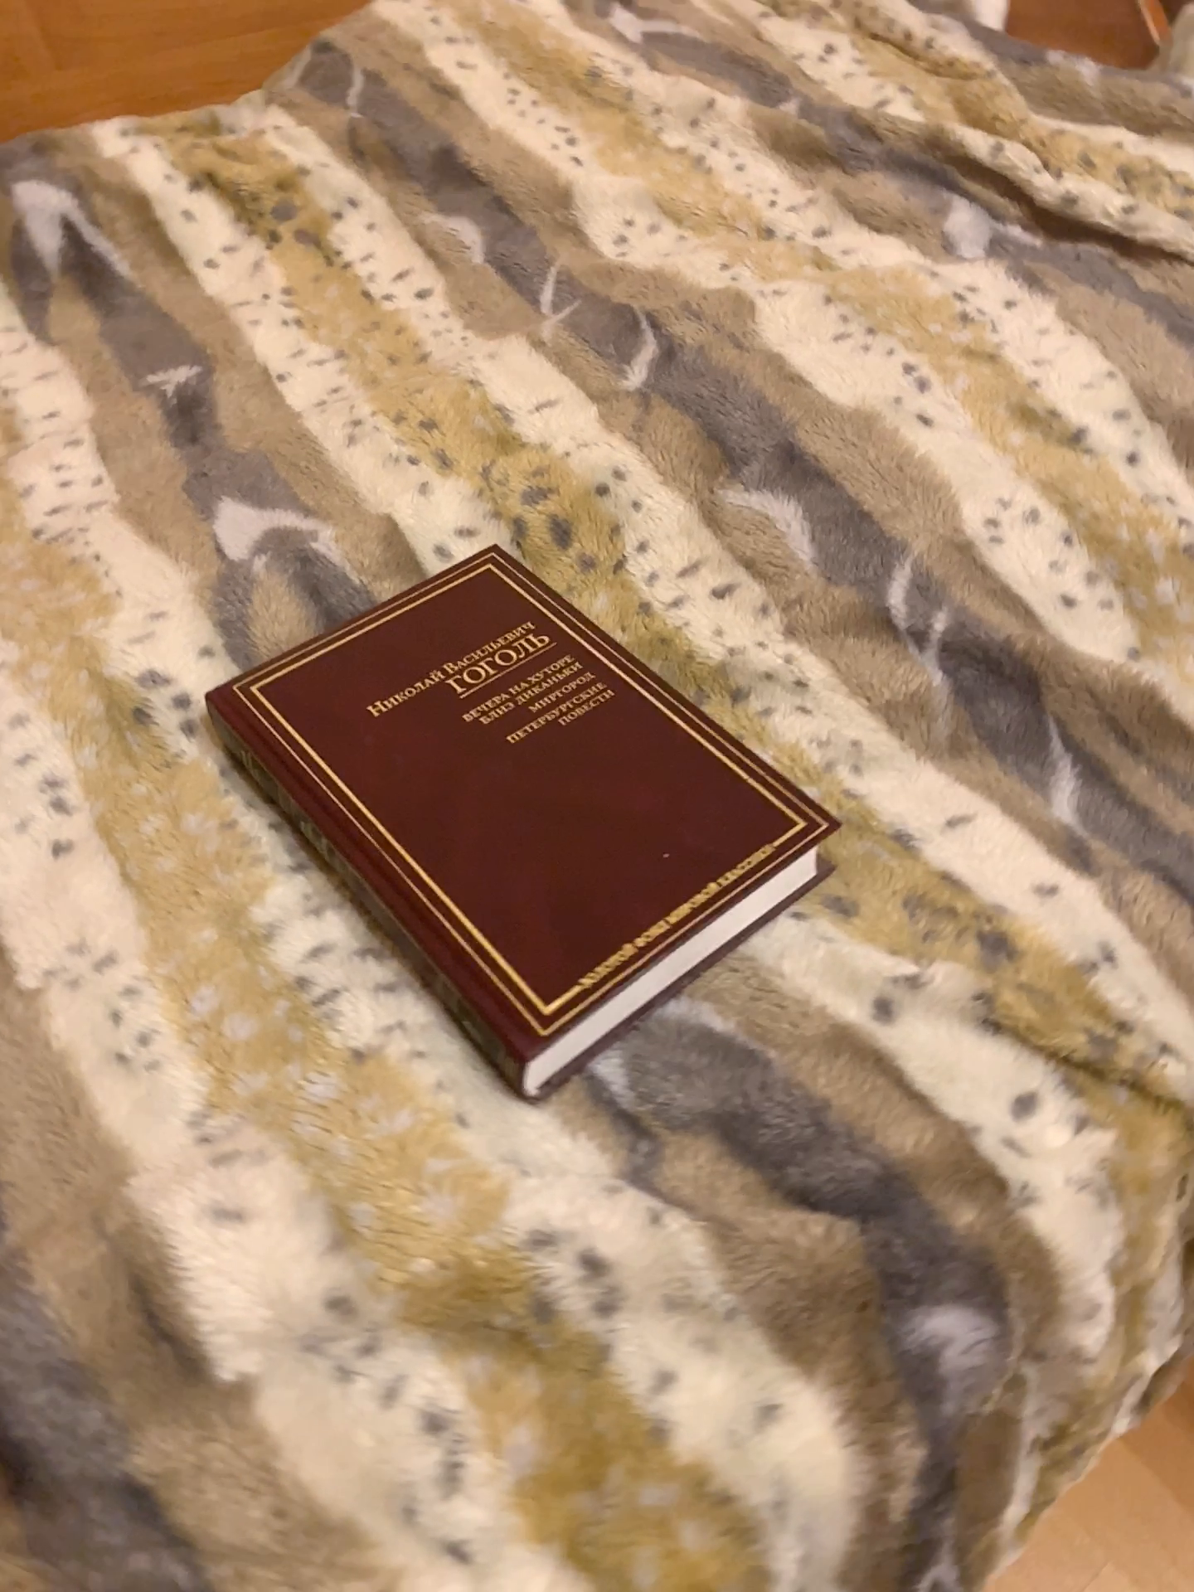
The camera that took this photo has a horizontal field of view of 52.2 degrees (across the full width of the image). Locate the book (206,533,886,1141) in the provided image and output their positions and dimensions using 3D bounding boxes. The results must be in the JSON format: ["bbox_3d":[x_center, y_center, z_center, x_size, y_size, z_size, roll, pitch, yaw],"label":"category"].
[{"bbox_3d":[-0.024,-0.001,0.460,0.150,0.040,0.211,-33,58,-24],"label":"book"}]
